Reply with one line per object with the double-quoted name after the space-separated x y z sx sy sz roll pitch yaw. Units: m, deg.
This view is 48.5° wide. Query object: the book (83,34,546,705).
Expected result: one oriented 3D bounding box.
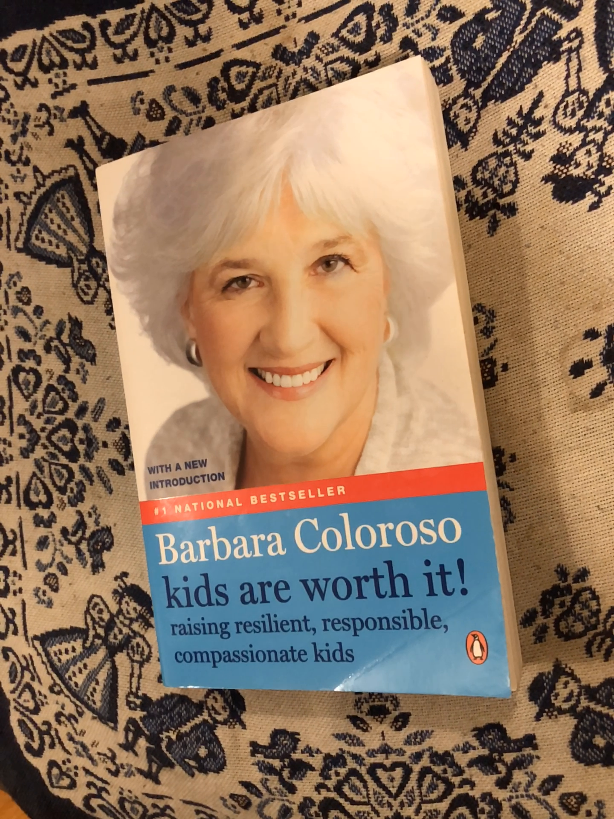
0.001 -0.006 0.272 0.150 0.050 0.220 -8 89 21 "book"
